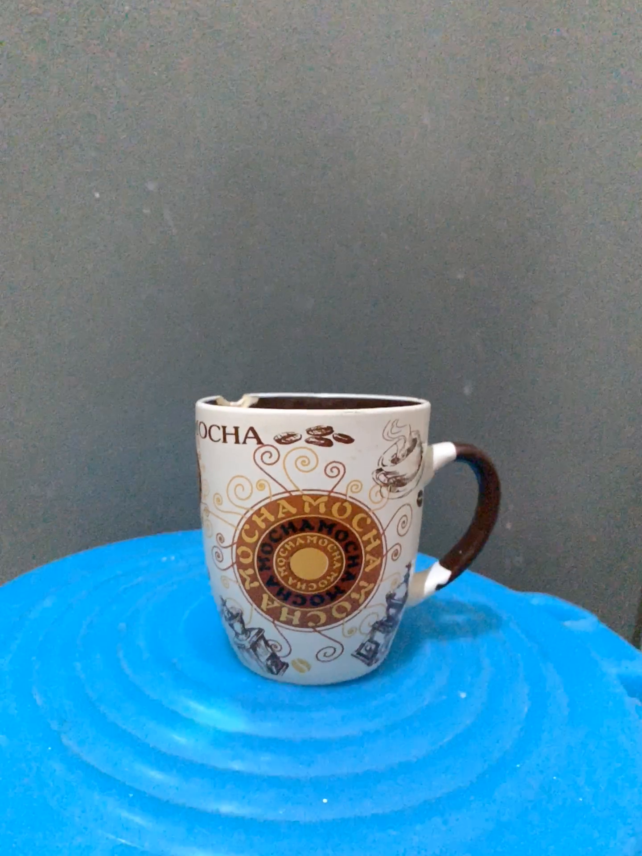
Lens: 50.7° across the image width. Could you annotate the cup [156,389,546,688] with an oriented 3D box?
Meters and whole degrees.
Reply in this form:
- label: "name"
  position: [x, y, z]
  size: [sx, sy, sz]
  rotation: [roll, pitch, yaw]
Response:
- label: "cup"
  position: [0.006, 0.030, 0.233]
  size: [0.110, 0.080, 0.080]
  rotation: [1, 6, -5]
